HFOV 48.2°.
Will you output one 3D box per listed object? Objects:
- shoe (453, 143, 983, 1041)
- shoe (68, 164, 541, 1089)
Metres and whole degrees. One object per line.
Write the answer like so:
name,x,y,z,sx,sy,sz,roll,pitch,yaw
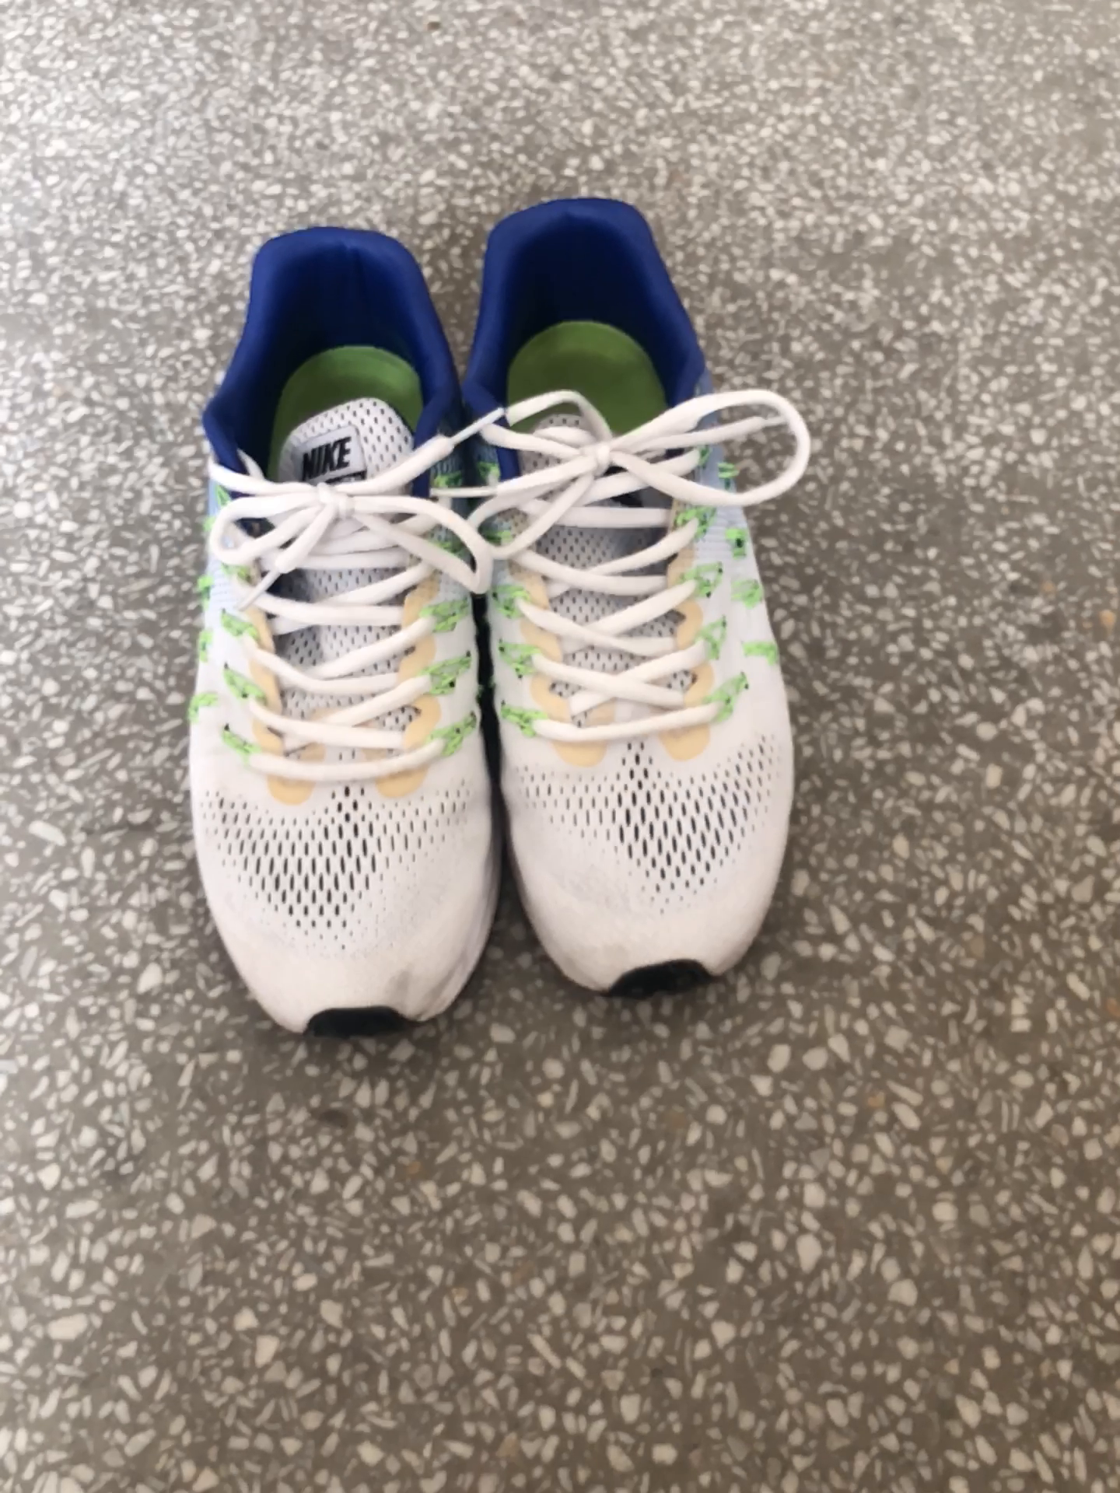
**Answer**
shoe,0.035,-0.057,0.424,0.111,0.114,0.276,-6,63,-3
shoe,-0.076,-0.045,0.418,0.112,0.114,0.282,-5,63,-2
